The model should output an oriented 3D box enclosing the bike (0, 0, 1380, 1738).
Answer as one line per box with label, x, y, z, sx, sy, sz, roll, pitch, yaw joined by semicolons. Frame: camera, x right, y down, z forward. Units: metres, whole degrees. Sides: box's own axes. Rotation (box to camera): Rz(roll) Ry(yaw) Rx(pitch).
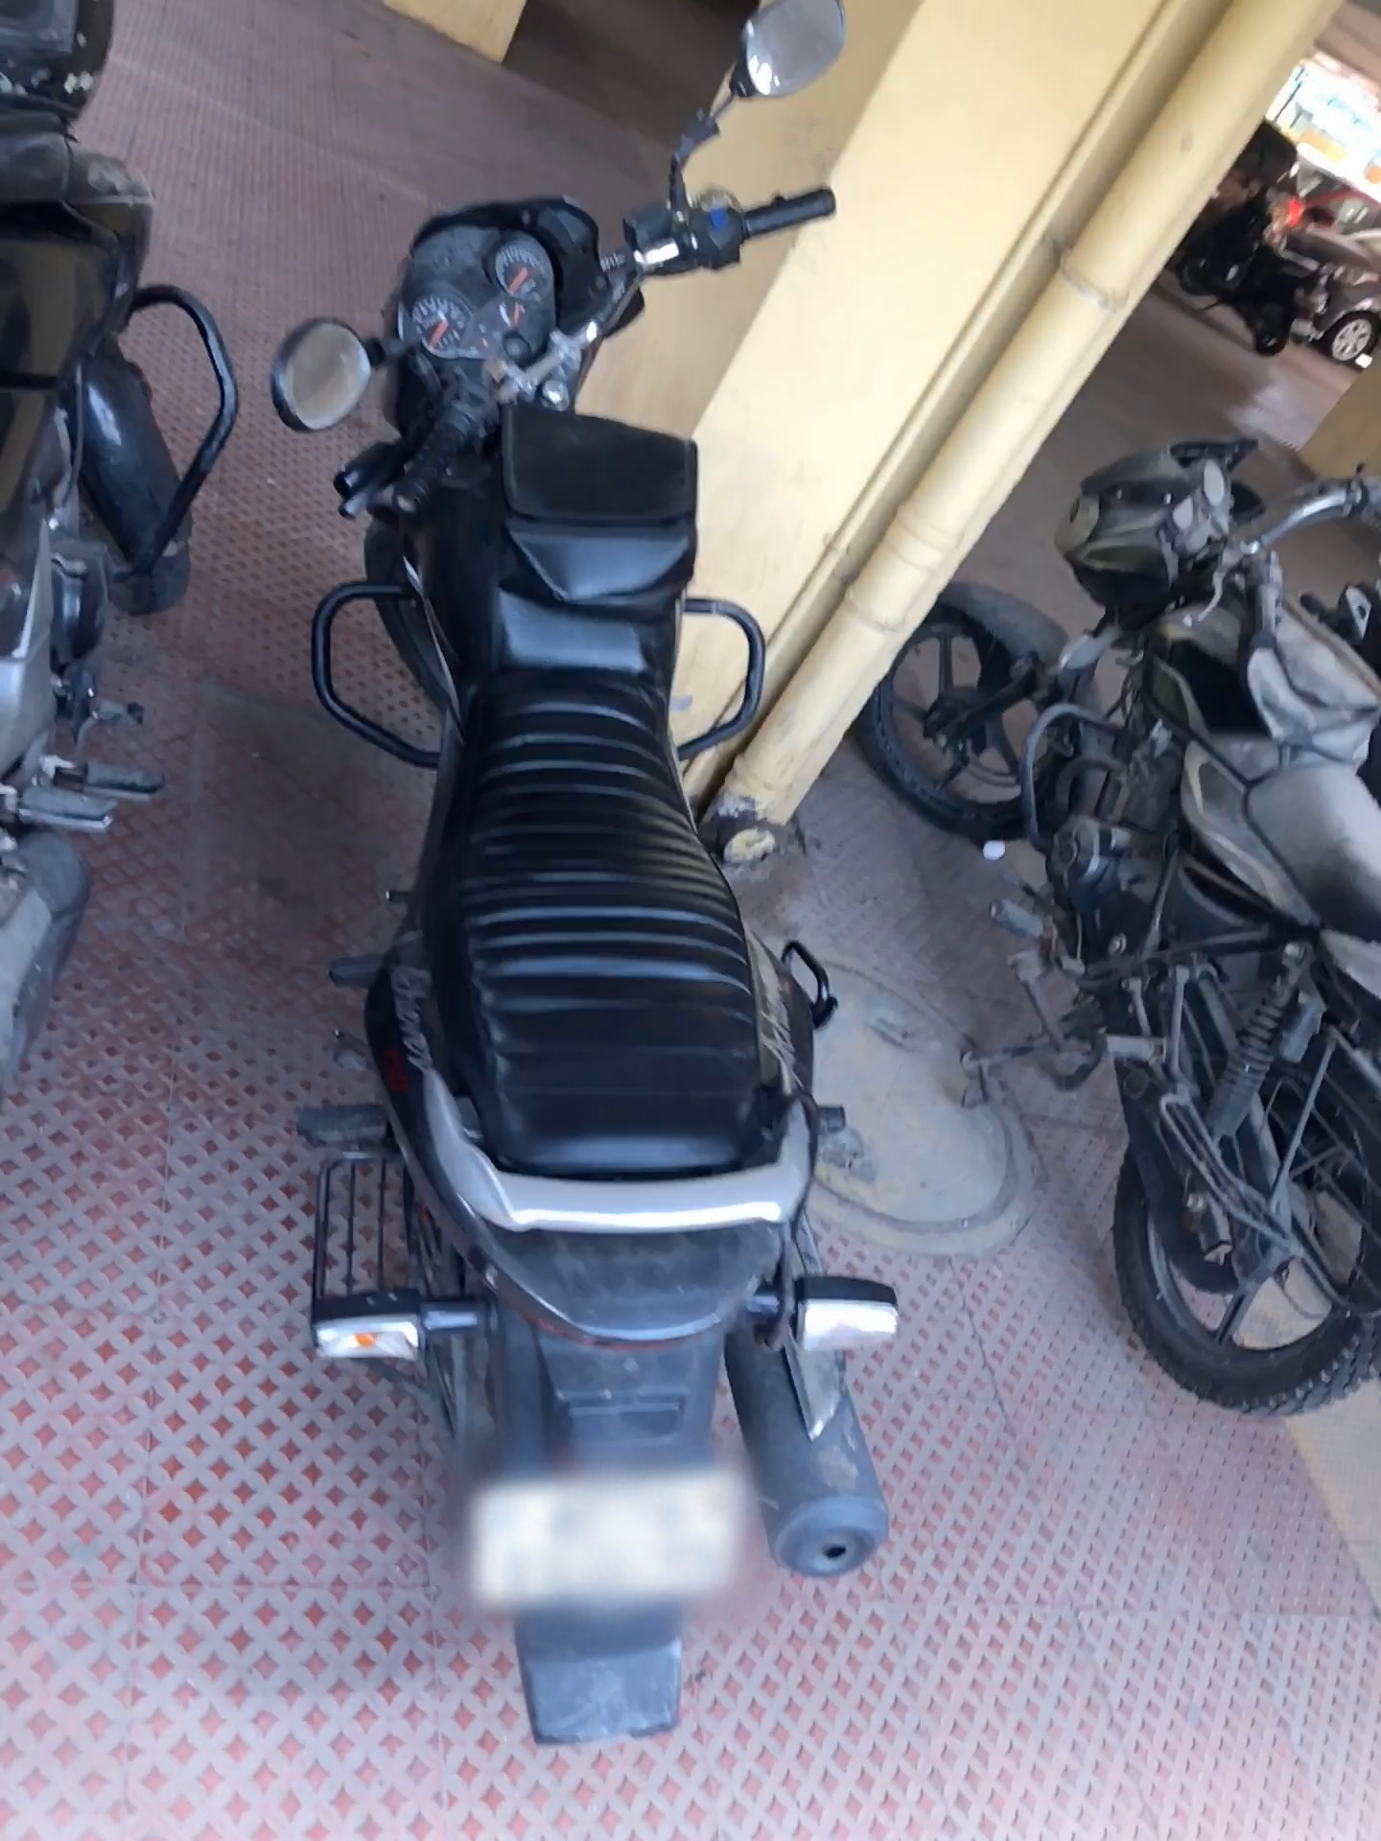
bike;-0.293;-0.255;1.693;0.733;1.125;1.764;12;39;-30
